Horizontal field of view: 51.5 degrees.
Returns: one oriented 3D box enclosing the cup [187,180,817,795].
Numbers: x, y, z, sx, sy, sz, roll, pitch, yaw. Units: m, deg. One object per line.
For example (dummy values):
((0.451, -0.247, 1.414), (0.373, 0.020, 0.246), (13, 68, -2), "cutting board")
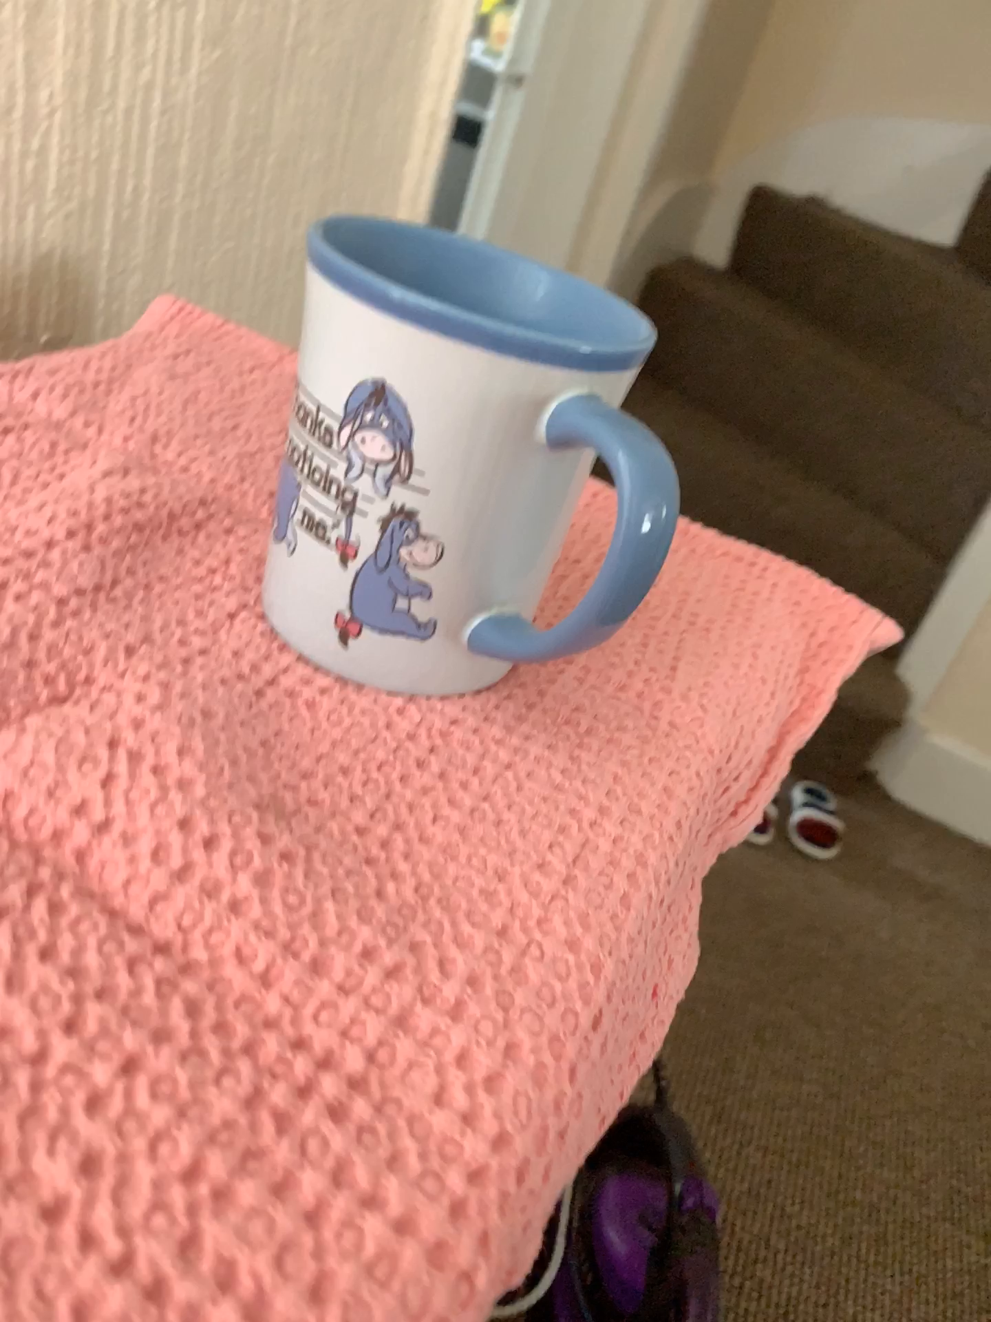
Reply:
((-0.006, -0.048, 0.264), (0.090, 0.099, 0.111), (-10, 40, -41), "cup")
